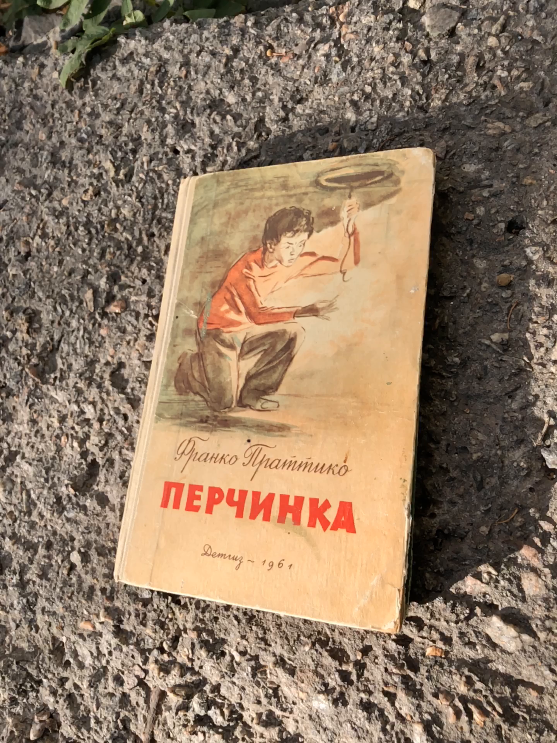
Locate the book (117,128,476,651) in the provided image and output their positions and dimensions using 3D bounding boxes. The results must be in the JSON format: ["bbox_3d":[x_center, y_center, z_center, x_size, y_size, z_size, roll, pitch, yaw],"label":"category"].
[{"bbox_3d":[0.011,-0.001,0.273,0.132,0.030,0.203,2,76,22],"label":"book"}]
